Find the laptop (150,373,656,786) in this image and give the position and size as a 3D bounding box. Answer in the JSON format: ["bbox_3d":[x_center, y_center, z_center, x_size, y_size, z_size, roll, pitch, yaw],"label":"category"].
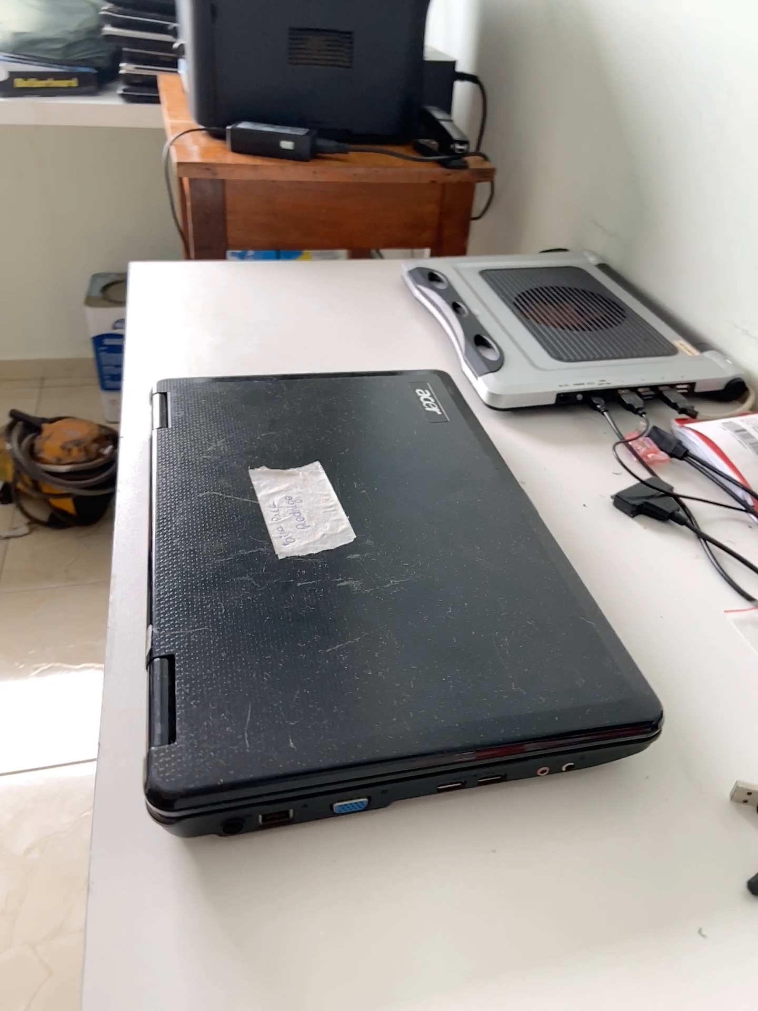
[{"bbox_3d":[-0.019,0.004,0.496,0.238,0.005,0.358,-4,37,-13],"label":"laptop"}]
